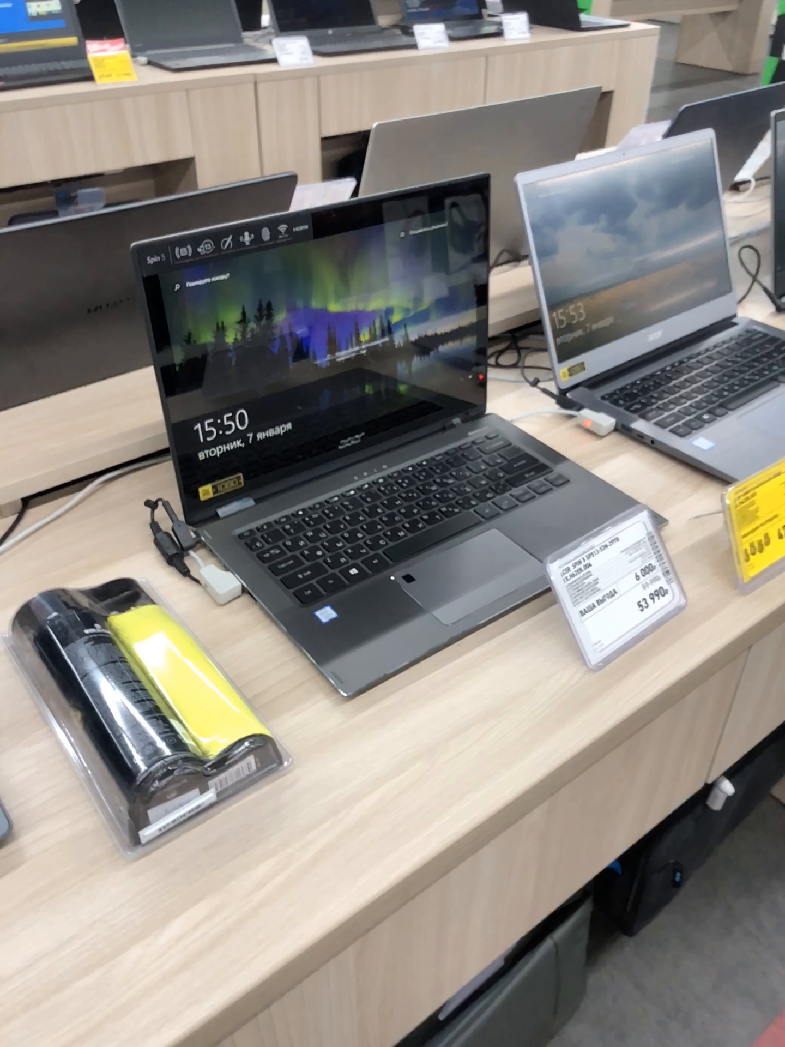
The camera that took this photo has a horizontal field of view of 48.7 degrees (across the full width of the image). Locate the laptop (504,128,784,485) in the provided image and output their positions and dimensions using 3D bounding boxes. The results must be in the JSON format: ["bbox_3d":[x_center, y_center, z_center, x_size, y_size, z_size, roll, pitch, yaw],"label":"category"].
[{"bbox_3d":[0.328,-0.231,0.844,0.271,0.196,0.299,-26,44,-30],"label":"laptop"}]

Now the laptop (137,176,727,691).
[{"bbox_3d":[0.025,-0.095,0.647,0.315,0.215,0.246,-23,43,-30],"label":"laptop"}]
